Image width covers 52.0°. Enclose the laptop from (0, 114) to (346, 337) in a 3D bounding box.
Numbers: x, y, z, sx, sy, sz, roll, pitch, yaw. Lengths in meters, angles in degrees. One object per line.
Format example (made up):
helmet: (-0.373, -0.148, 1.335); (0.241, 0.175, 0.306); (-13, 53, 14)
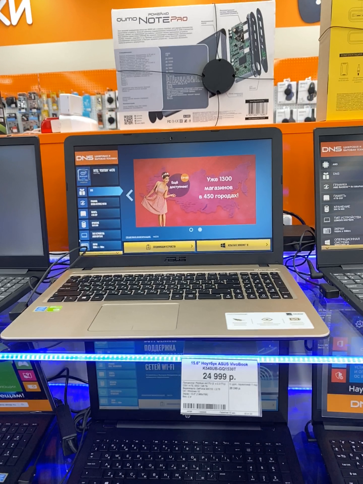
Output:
laptop: (-0.018, -0.042, 0.537); (0.376, 0.230, 0.294); (-1, 13, 4)
